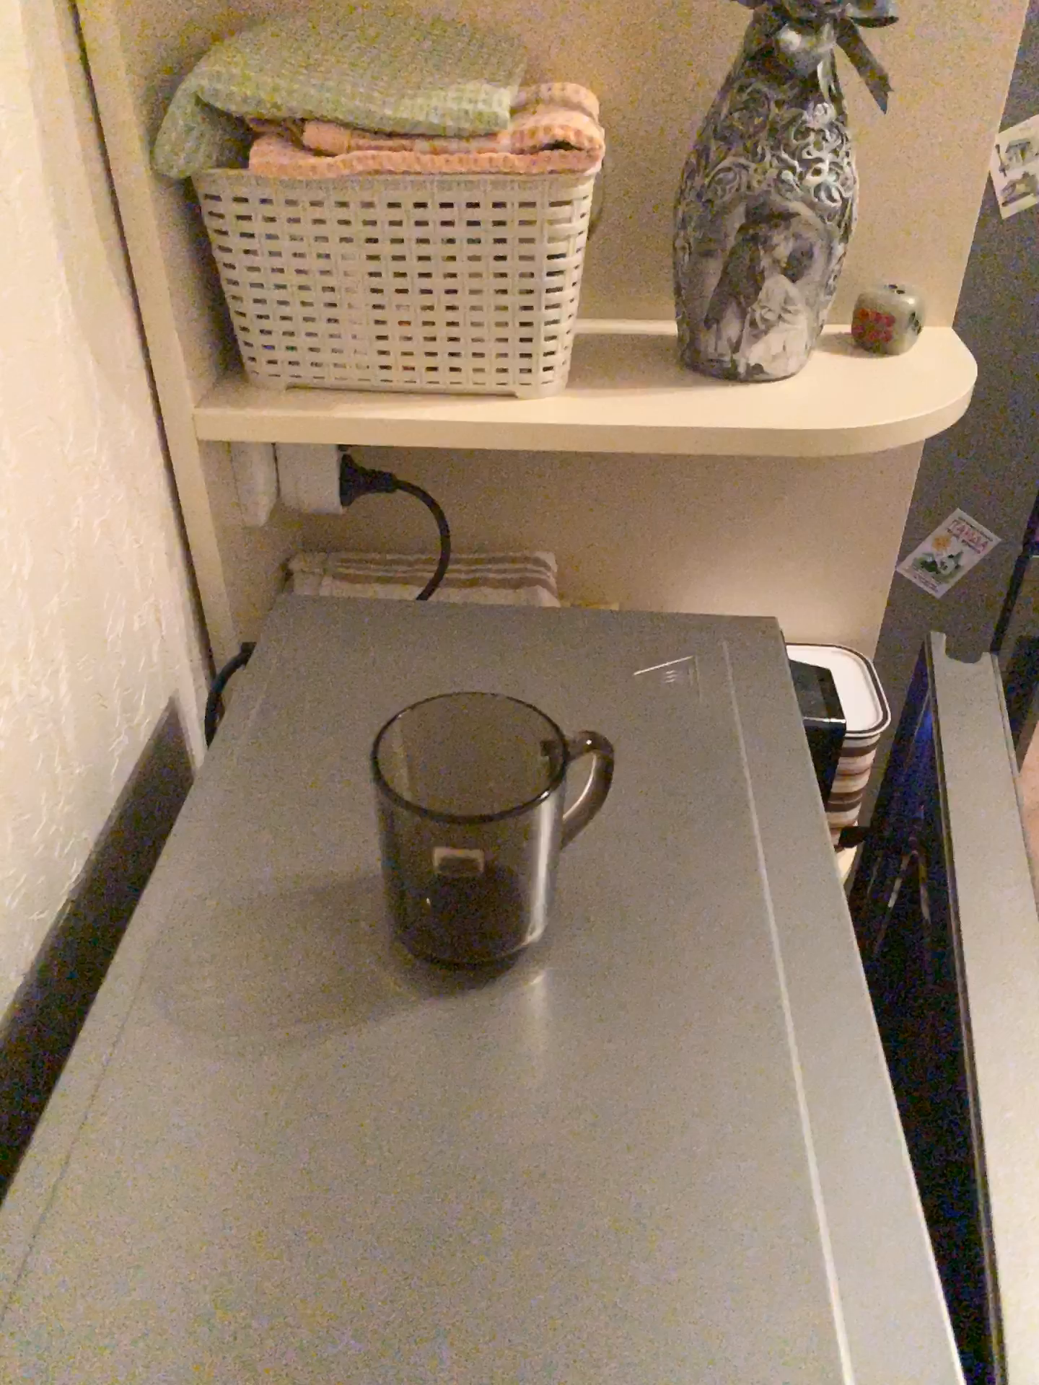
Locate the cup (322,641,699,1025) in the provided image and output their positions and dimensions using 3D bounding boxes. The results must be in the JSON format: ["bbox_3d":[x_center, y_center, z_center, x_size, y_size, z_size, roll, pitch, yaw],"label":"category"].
[{"bbox_3d":[-0.004,0.049,0.404,0.110,0.079,0.081,-20,41,-25],"label":"cup"}]
